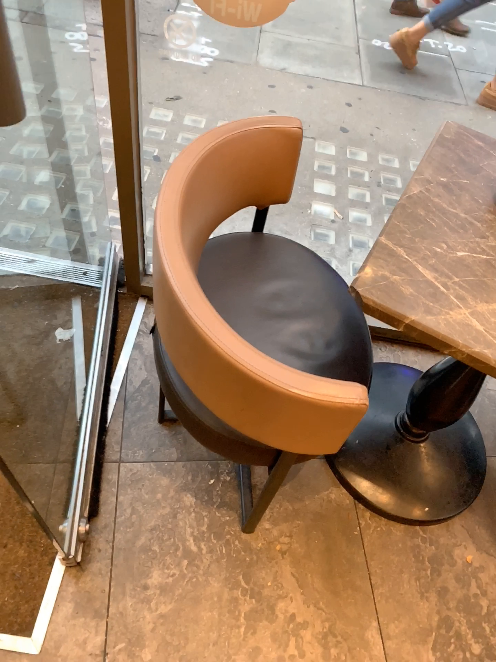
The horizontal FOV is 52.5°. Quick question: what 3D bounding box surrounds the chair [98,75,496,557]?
[{"bbox_3d":[0.052,-0.009,1.114,0.510,0.655,0.766,8,53,-4],"label":"chair"}]
